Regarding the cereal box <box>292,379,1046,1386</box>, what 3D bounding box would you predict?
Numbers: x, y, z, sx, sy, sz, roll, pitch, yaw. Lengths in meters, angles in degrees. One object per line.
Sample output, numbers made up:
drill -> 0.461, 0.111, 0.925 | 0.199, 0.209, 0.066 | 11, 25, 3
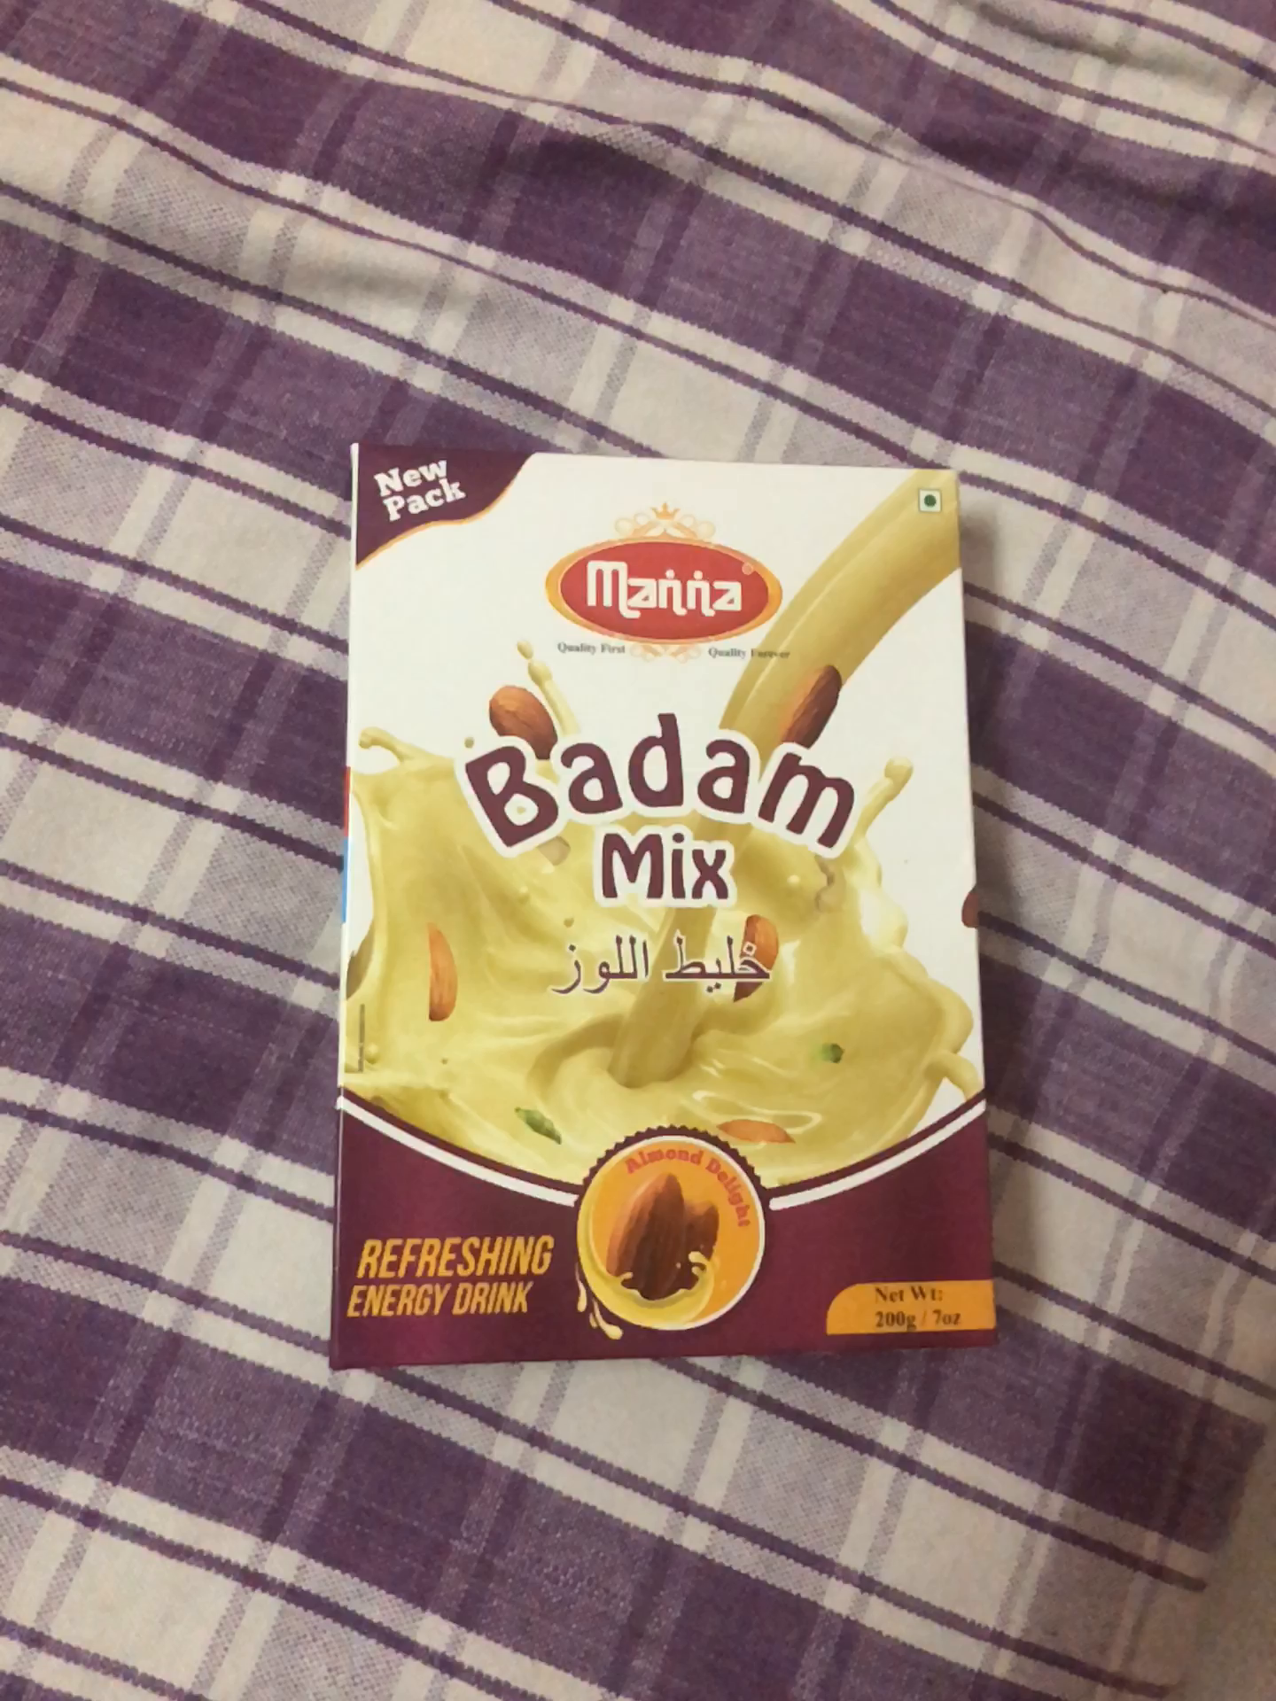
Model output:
cereal box -> 0.001, 0.003, 0.284 | 0.130, 0.050, 0.180 | -2, 80, -8
